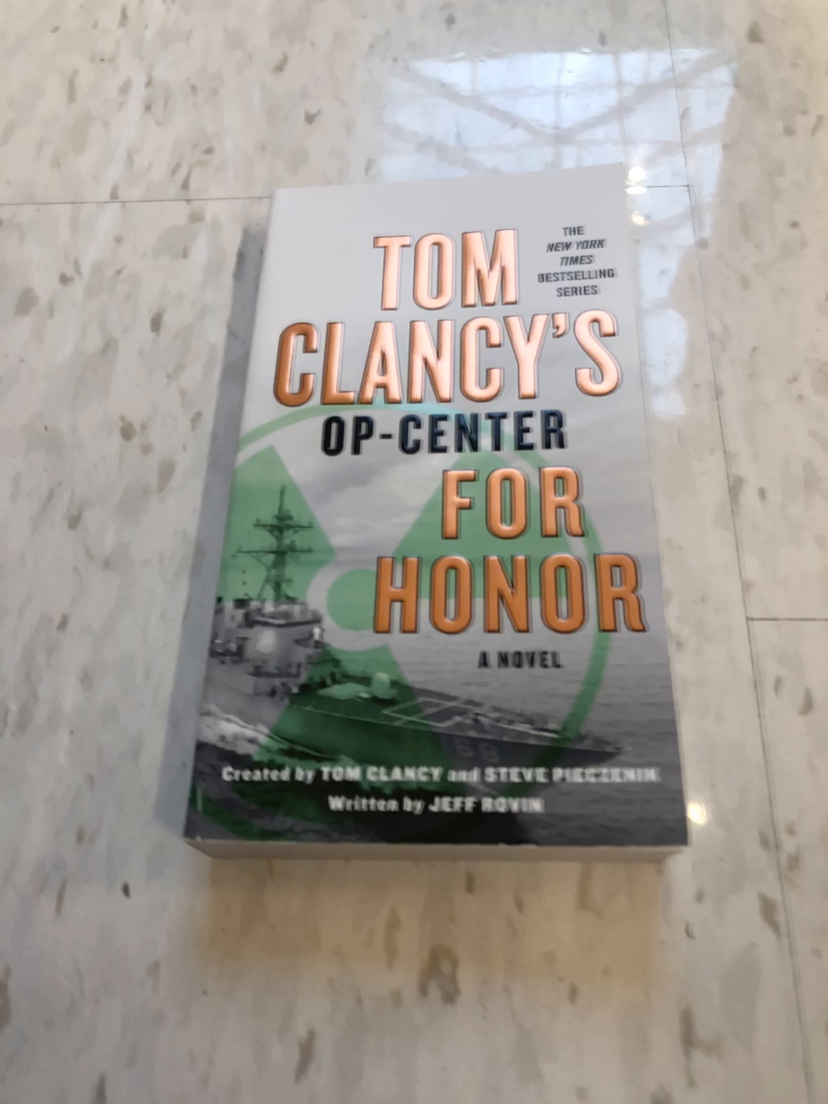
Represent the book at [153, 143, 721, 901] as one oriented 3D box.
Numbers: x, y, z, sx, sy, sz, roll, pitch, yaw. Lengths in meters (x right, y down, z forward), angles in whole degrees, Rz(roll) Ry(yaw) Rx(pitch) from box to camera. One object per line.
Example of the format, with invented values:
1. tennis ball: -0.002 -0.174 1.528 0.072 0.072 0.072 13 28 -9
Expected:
1. book: 0.007 -0.017 0.245 0.110 0.050 0.201 -1 63 4
